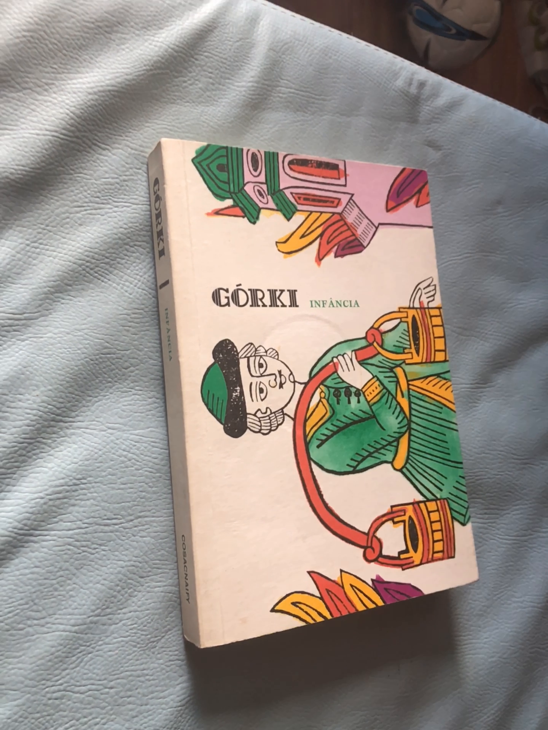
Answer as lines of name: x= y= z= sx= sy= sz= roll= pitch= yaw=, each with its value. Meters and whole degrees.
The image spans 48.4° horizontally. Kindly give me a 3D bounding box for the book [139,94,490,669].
book: x=0.018 y=0.001 z=0.253 sx=0.130 sy=0.030 sz=0.200 roll=-2 pitch=83 yaw=-26
